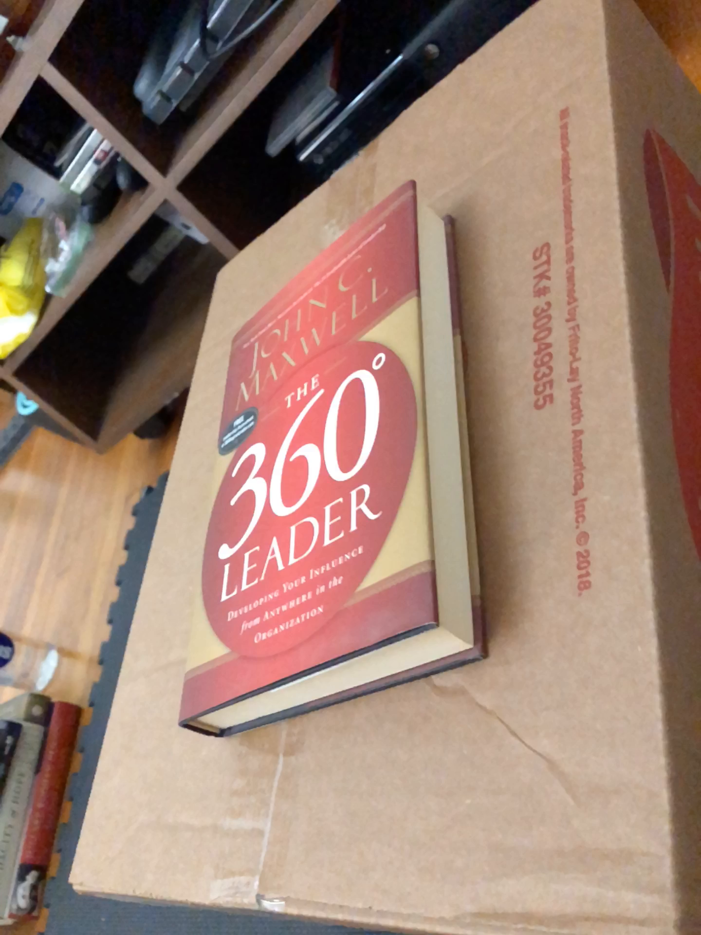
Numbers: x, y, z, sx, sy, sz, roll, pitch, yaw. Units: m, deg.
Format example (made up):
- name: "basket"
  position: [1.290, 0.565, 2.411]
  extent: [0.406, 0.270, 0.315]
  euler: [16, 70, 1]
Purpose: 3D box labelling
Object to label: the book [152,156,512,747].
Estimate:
- name: "book"
  position: [-0.014, -0.008, 0.369]
  extent: [0.180, 0.030, 0.241]
  euler: [-30, 44, 39]
